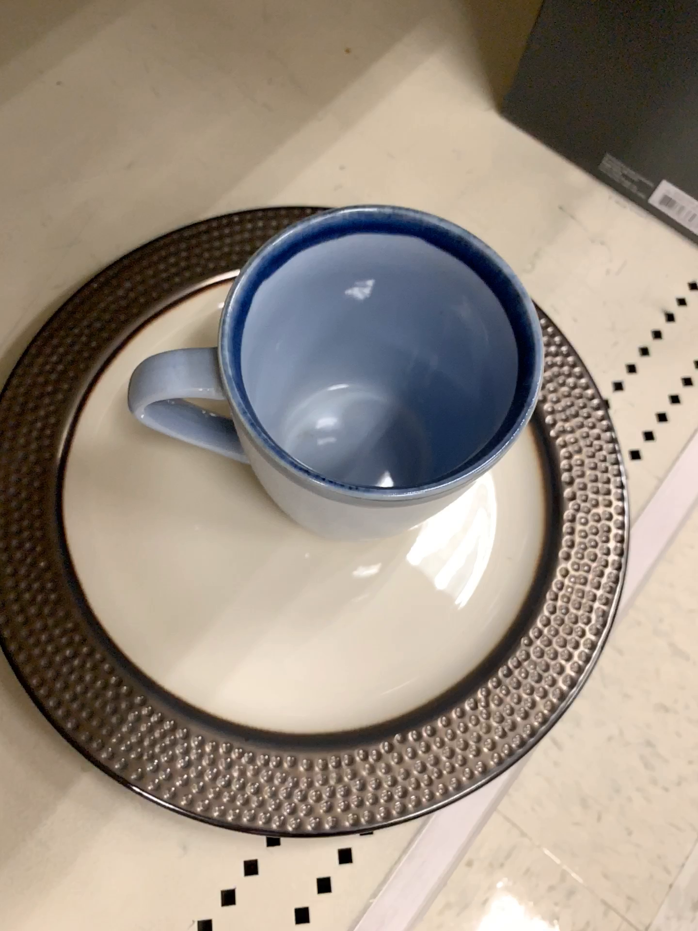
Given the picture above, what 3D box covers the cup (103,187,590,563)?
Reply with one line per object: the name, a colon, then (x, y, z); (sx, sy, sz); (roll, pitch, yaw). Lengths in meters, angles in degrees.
cup: (-0.005, -0.024, 0.249); (0.127, 0.094, 0.093); (-2, 73, -5)
